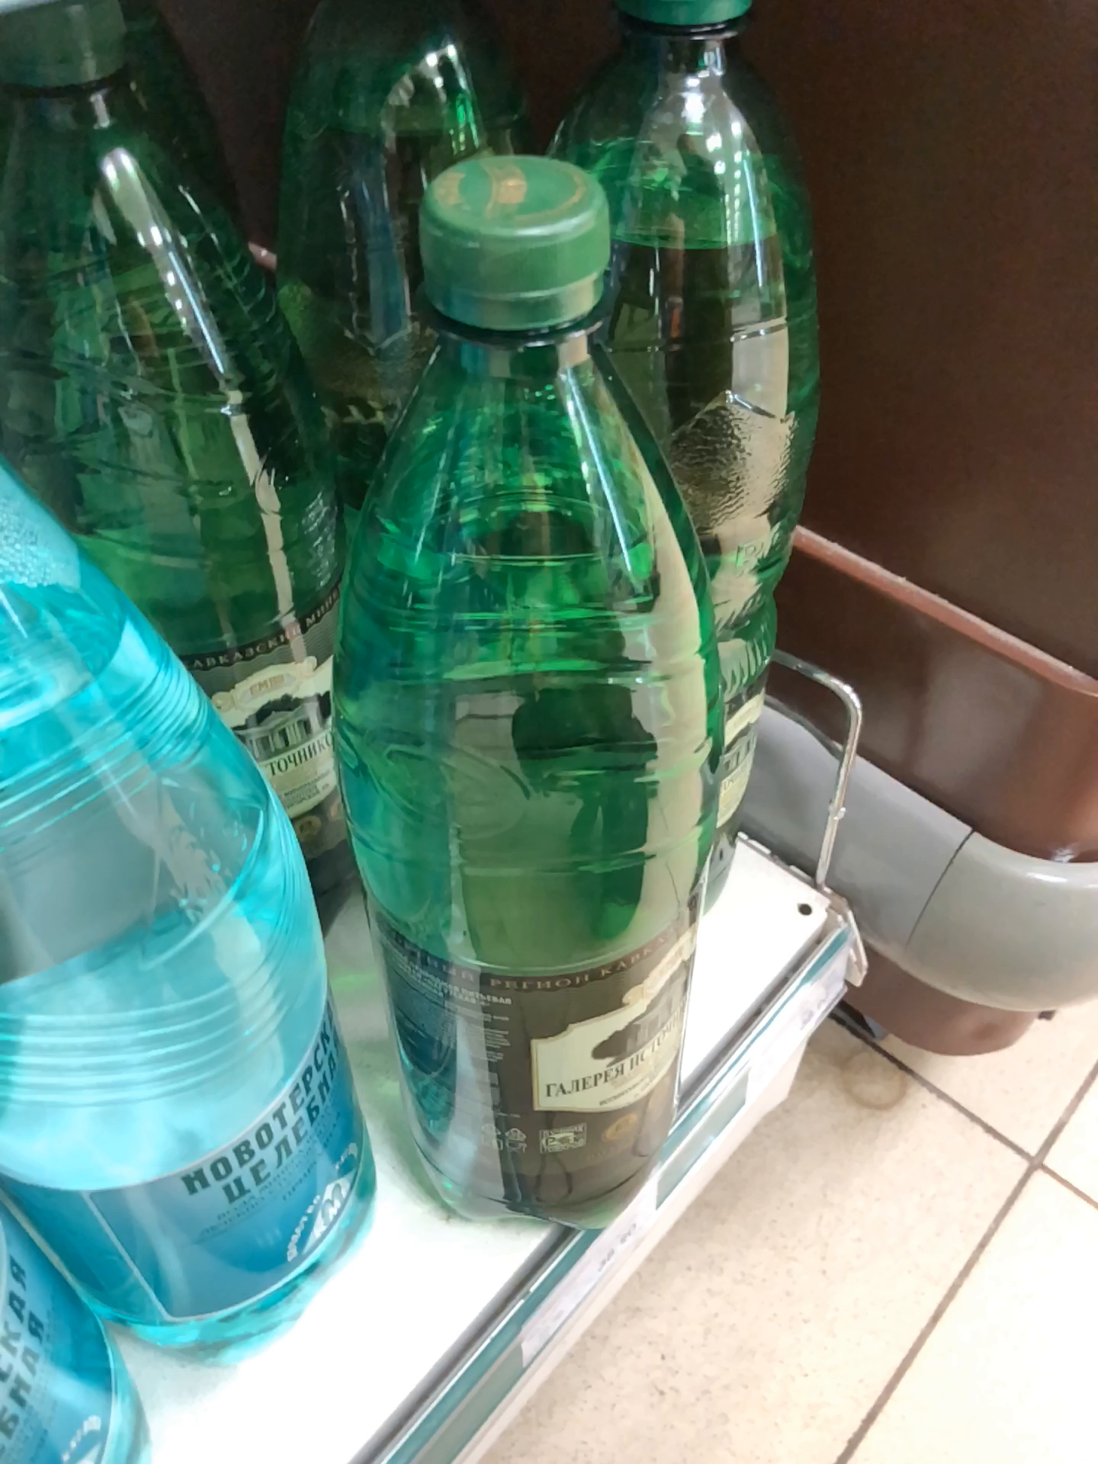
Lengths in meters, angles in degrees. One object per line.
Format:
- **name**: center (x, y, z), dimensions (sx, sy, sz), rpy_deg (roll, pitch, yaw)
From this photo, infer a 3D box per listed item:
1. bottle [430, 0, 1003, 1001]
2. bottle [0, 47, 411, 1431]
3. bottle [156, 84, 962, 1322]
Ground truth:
- **bottle**: center (0.032, -0.058, 0.373), dimensions (0.082, 0.326, 0.091), rpy_deg (33, 54, 26)
- **bottle**: center (-0.096, 0.047, 0.269), dimensions (0.076, 0.326, 0.084), rpy_deg (1, 46, -1)
- **bottle**: center (-0.002, 0.027, 0.302), dimensions (0.088, 0.308, 0.091), rpy_deg (1, 46, -1)
